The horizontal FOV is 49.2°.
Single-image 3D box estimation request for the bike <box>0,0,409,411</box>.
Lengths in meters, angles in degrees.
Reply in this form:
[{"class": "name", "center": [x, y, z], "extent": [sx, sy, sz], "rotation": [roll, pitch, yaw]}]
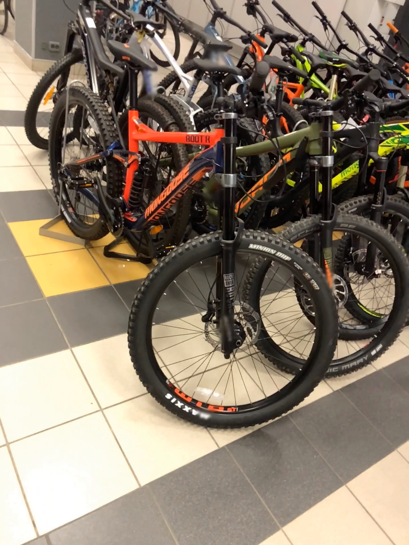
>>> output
[{"class": "bike", "center": [-0.072, -0.468, 1.817], "extent": [1.700, 1.108, 0.803], "rotation": [36, 38, 31]}]
